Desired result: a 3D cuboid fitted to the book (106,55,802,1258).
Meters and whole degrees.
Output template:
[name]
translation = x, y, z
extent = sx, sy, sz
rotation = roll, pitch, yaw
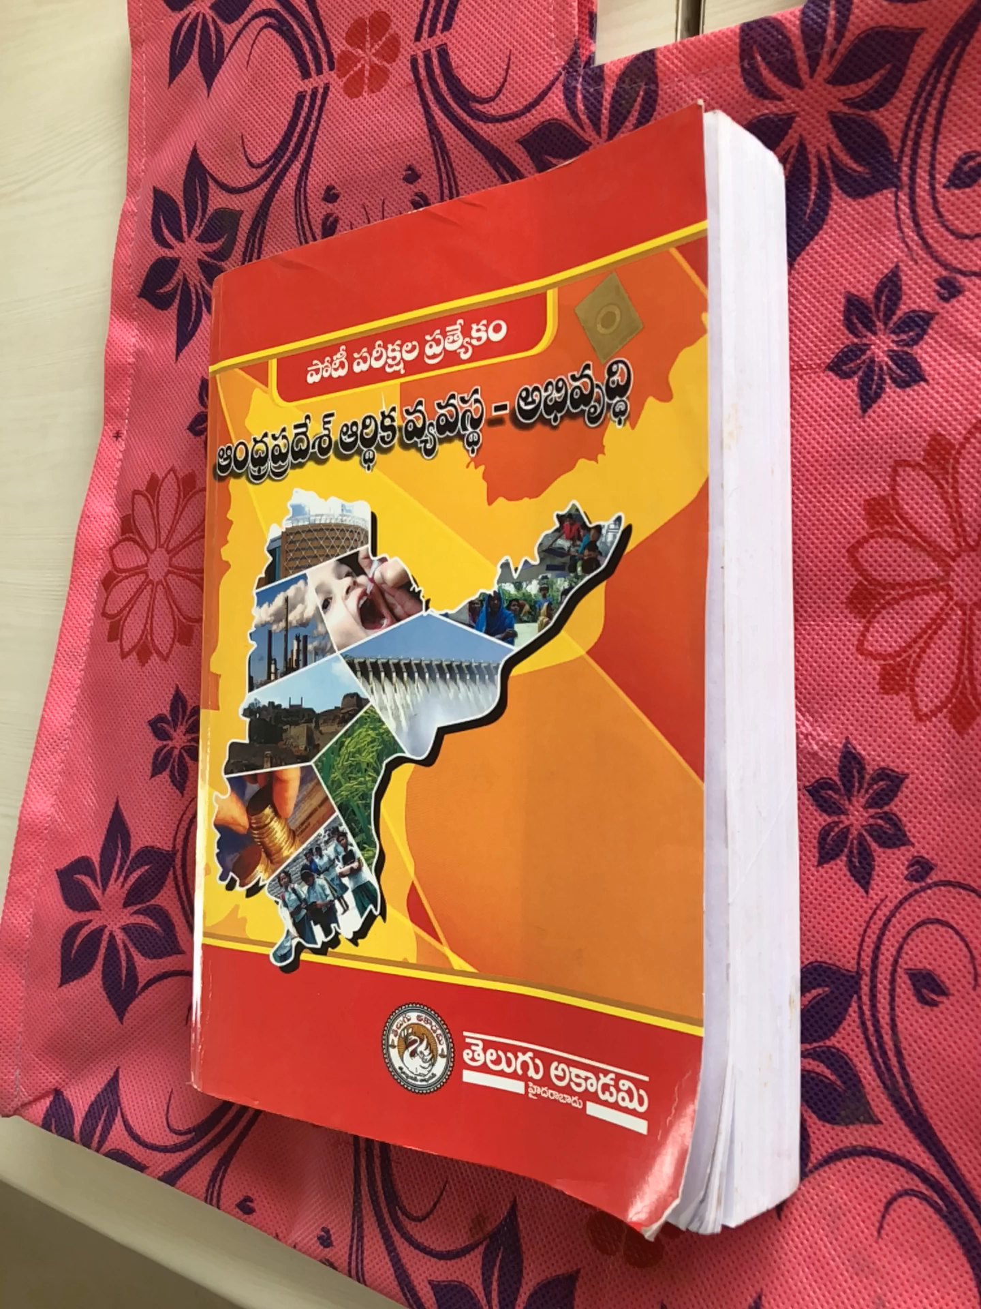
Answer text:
[book]
translation = -0.021, 0.001, 0.315
extent = 0.201, 0.060, 0.260
rotation = -1, 89, 33
